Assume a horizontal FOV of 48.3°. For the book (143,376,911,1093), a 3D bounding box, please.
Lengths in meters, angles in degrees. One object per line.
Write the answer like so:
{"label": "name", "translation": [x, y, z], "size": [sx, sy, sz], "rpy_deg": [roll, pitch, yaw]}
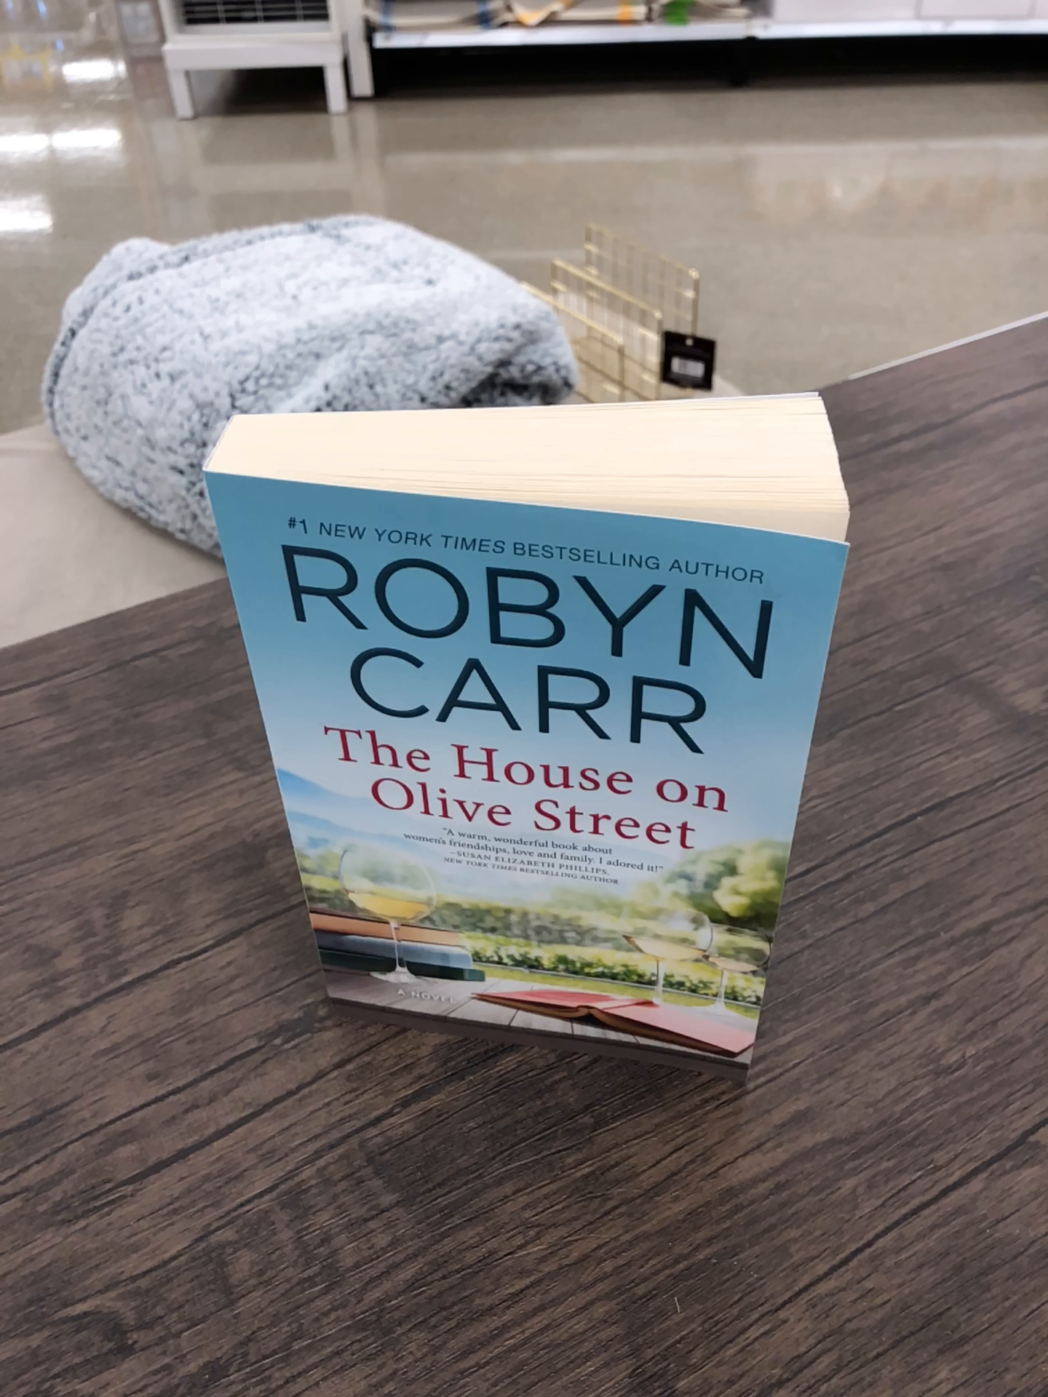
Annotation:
{"label": "book", "translation": [0.004, 0.021, 0.304], "size": [0.146, 0.195, 0.050], "rpy_deg": [4, 42, 7]}
